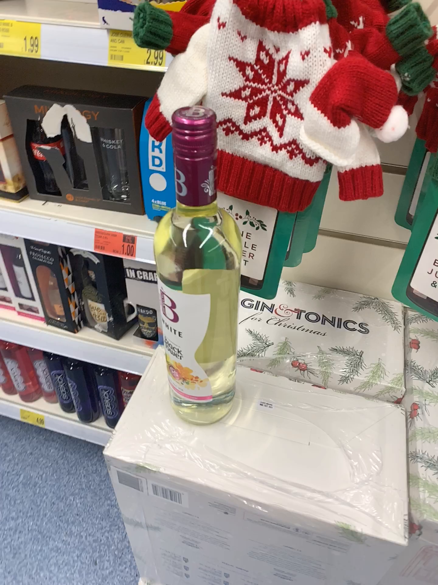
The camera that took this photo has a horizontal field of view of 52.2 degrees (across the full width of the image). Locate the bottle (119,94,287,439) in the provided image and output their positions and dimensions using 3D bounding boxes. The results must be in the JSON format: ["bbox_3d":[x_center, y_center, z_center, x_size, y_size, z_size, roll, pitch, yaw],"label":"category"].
[{"bbox_3d":[-0.015,-0.005,0.390,0.080,0.288,0.081,1,39,-1],"label":"bottle"}]
